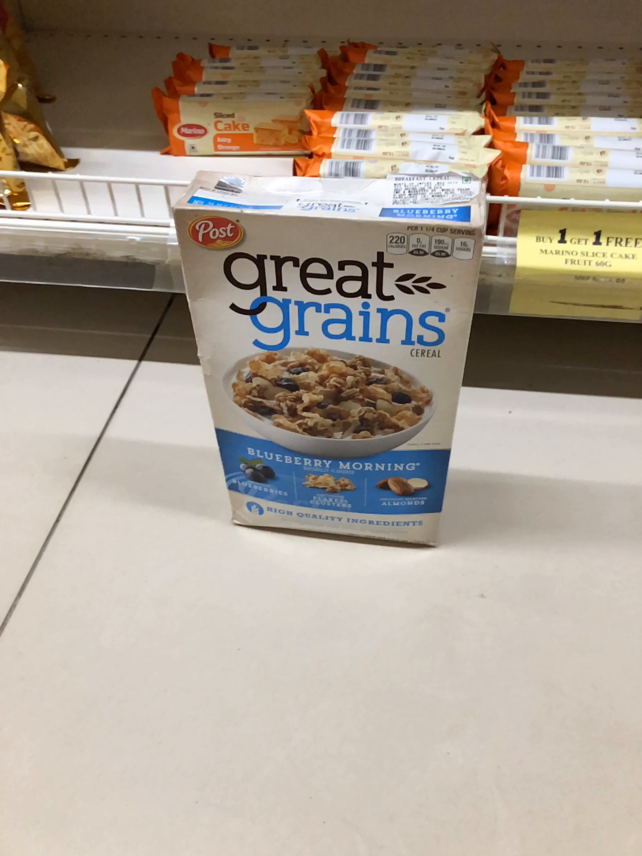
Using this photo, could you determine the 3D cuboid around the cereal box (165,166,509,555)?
[{"bbox_3d":[0.014,-0.028,0.459,0.170,0.258,0.060,5,45,7],"label":"cereal box"}]
